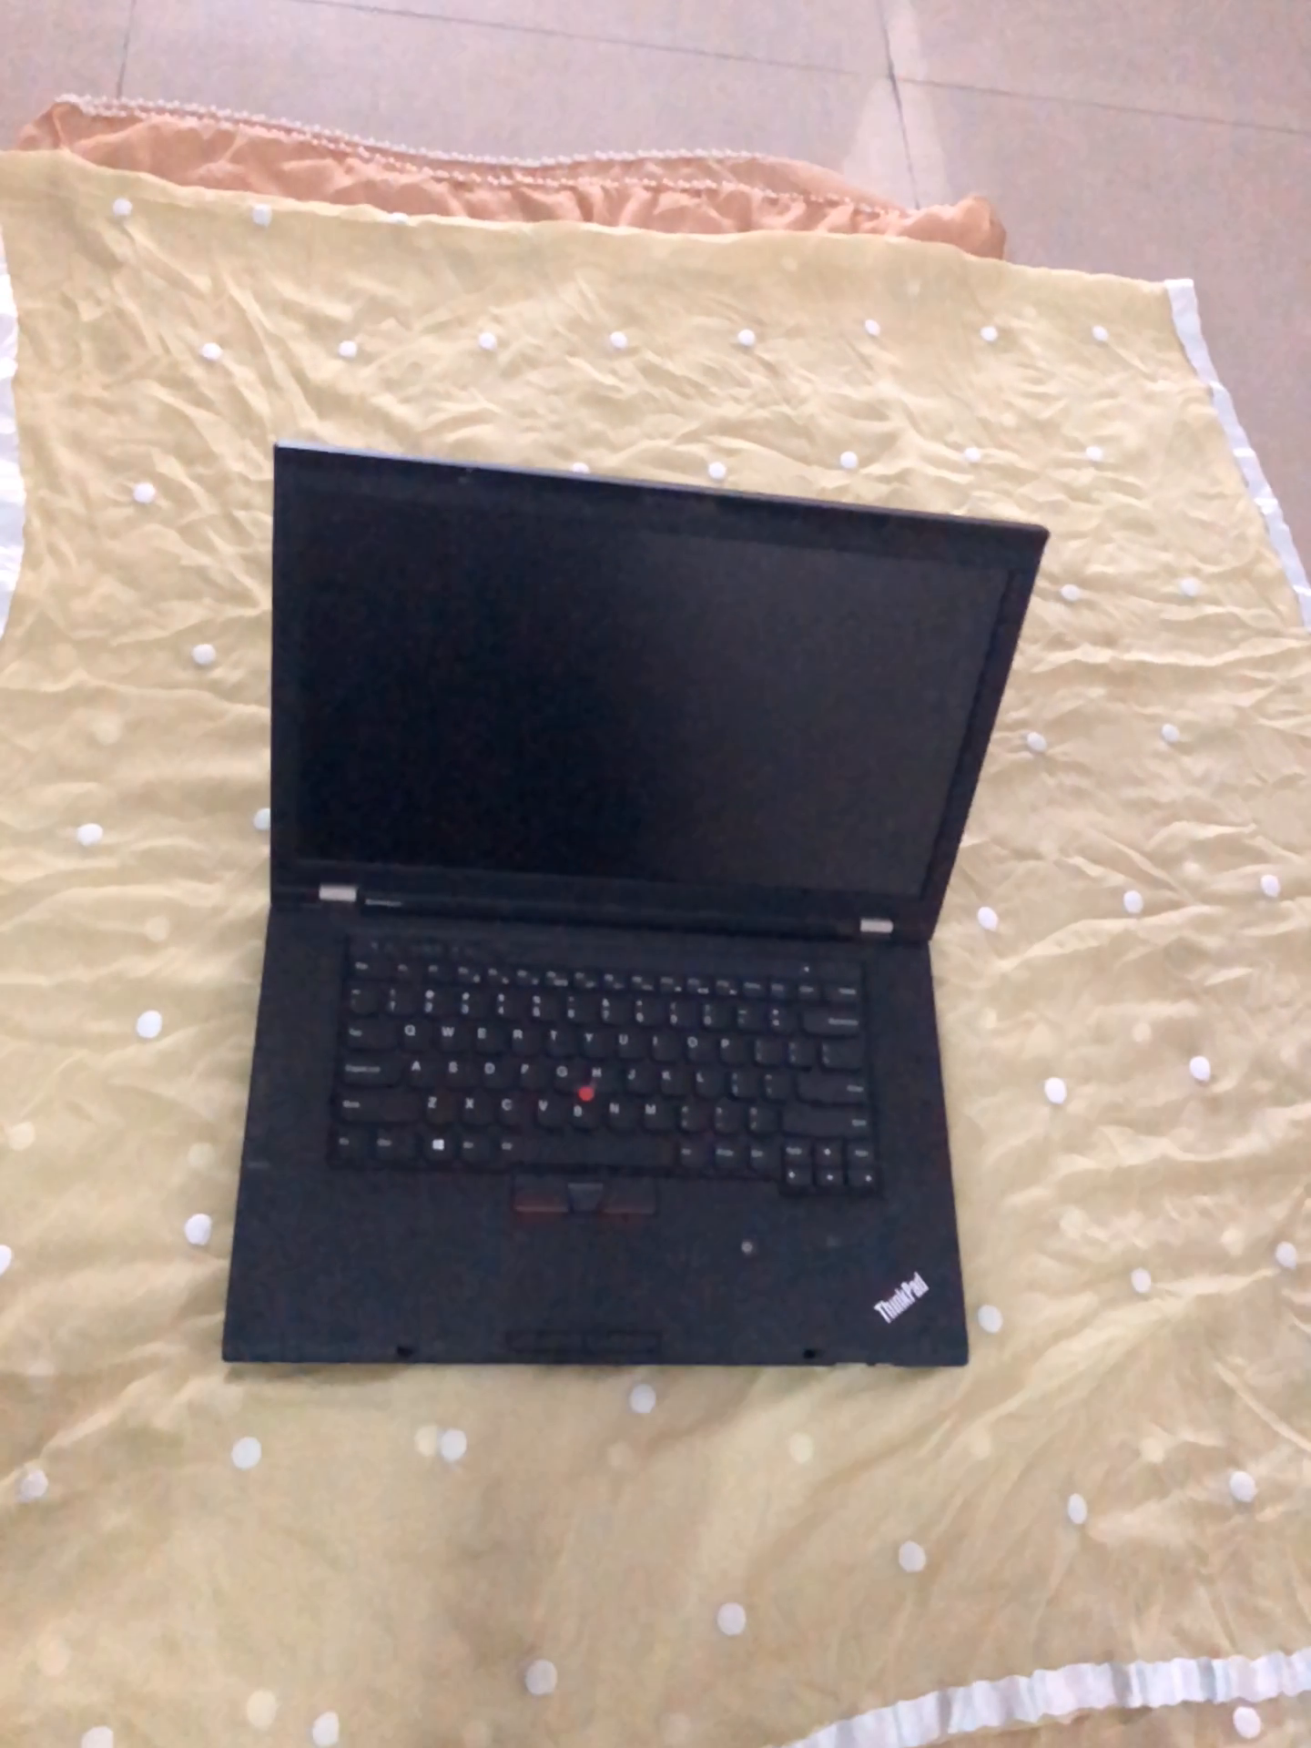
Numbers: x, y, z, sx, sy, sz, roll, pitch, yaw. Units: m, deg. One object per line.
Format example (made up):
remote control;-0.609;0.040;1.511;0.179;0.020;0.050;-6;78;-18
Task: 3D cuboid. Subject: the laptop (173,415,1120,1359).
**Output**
laptop;-0.010;0.023;0.699;0.363;0.191;0.381;4;68;-10
